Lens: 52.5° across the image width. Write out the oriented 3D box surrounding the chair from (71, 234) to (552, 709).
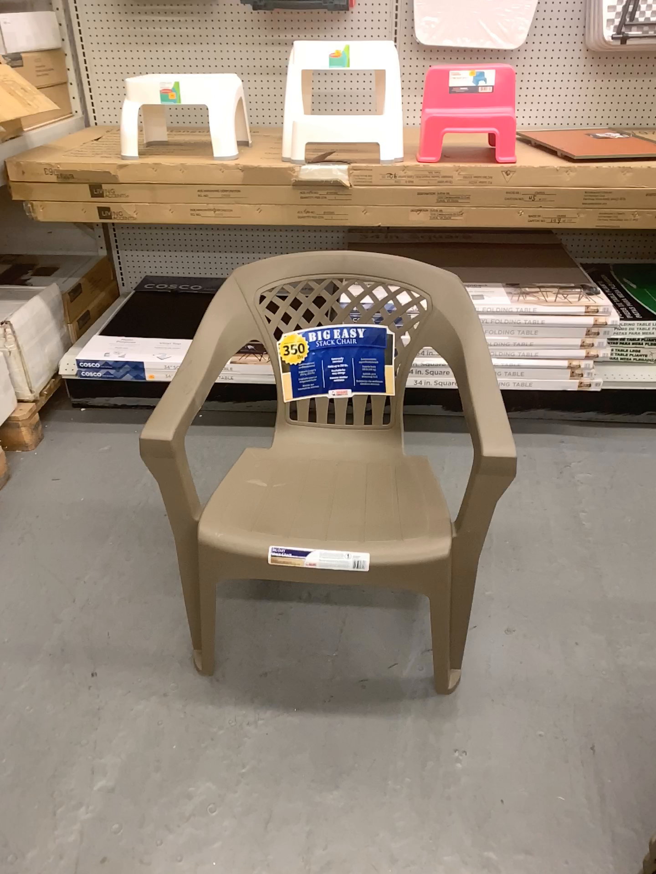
[{"bbox_3d":[-0.012,0.060,1.532,0.766,0.878,0.591,2,31,4],"label":"chair"}]
